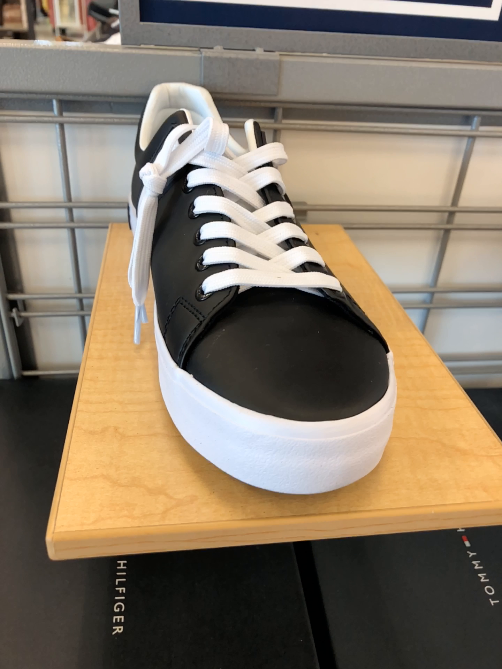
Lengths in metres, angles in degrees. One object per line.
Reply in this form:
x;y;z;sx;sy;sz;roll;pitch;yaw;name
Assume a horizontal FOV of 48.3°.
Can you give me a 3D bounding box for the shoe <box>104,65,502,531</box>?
-0.009;-0.060;0.276;0.100;0.089;0.292;-5;34;-16;shoe
